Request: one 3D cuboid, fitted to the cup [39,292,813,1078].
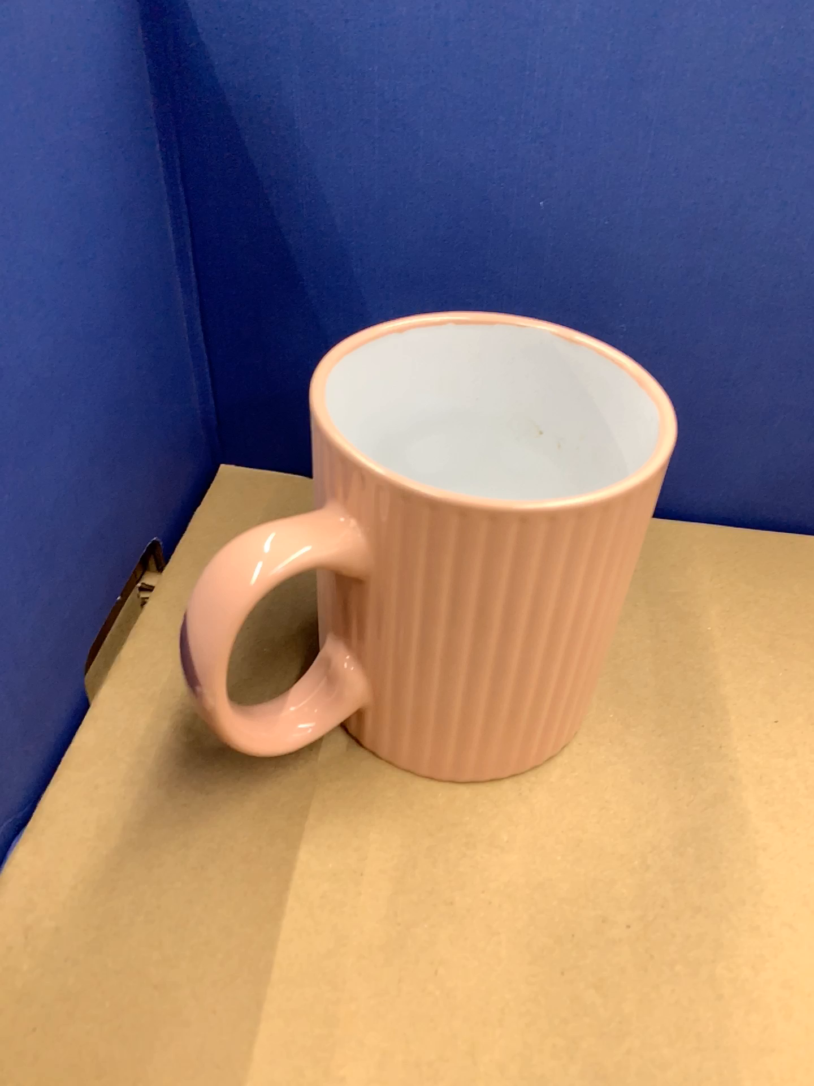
[{"bbox_3d":[0.008,0.021,0.232,0.155,0.128,0.102,-23,40,-32],"label":"cup"}]
